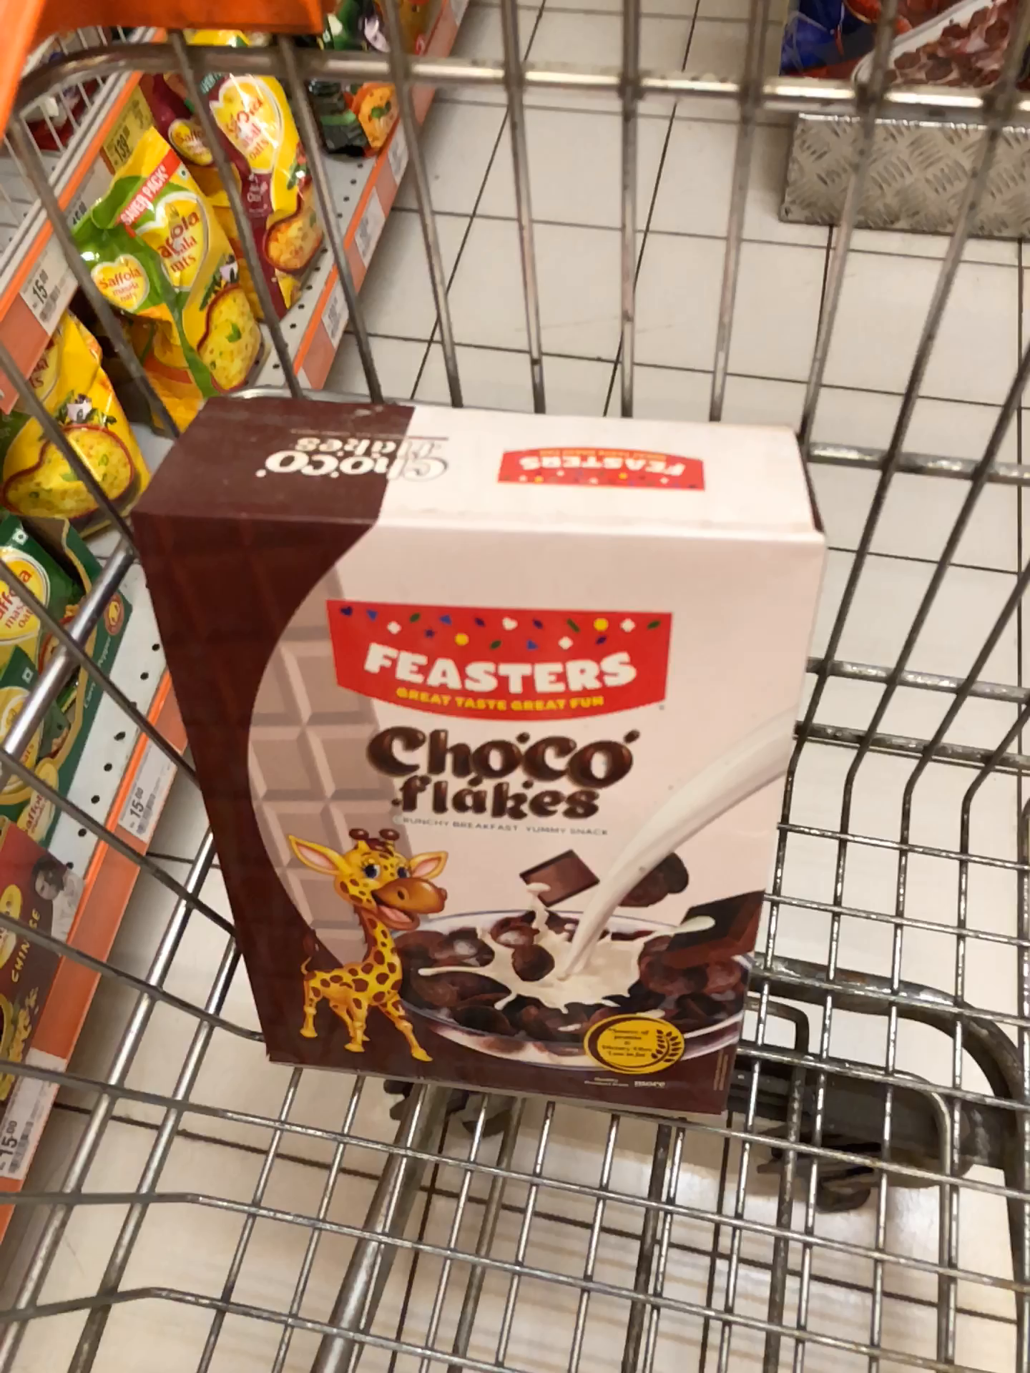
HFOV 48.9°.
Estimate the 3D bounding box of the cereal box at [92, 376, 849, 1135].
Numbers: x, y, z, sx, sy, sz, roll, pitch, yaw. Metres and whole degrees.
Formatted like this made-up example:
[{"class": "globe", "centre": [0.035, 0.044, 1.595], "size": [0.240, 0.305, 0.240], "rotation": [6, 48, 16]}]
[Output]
[{"class": "cereal box", "centre": [-0.007, 0.034, 0.353], "size": [0.170, 0.239, 0.070], "rotation": [3, 39, 6]}]
